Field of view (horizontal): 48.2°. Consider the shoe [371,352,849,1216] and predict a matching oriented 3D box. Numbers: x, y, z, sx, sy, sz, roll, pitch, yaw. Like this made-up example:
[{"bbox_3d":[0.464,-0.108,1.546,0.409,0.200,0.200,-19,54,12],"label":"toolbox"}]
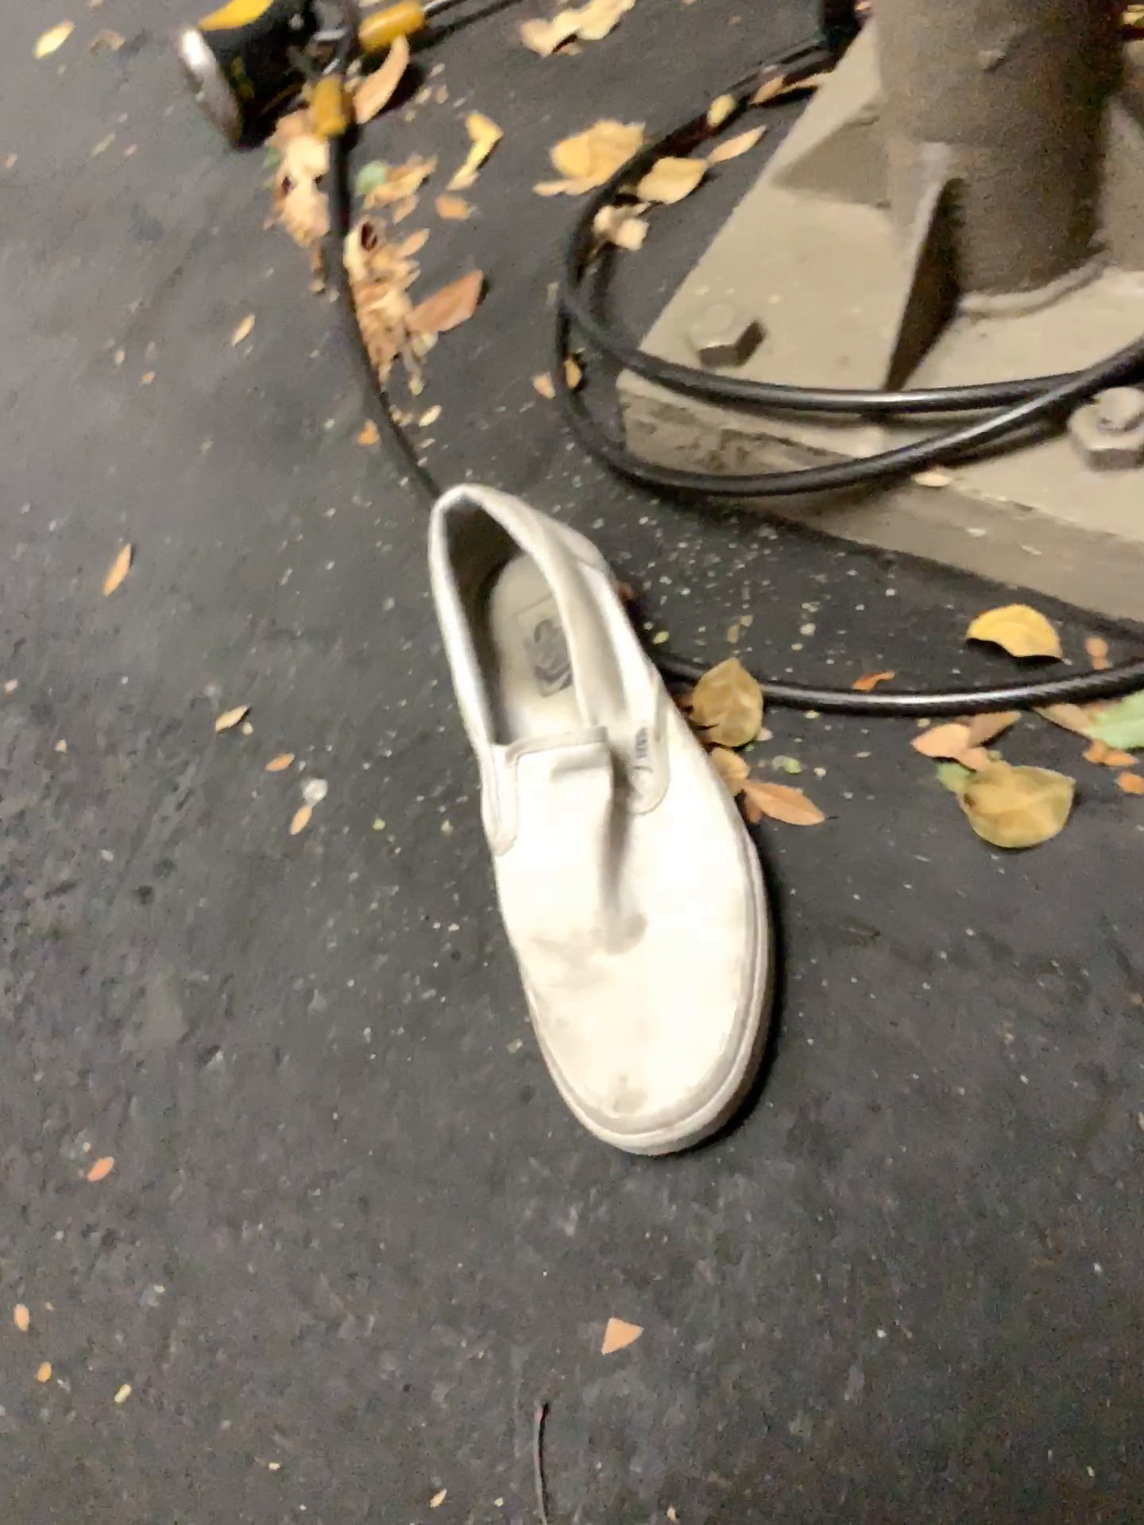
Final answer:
[{"bbox_3d":[0.006,0.001,0.507,0.120,0.100,0.310,-16,60,11],"label":"shoe"}]
